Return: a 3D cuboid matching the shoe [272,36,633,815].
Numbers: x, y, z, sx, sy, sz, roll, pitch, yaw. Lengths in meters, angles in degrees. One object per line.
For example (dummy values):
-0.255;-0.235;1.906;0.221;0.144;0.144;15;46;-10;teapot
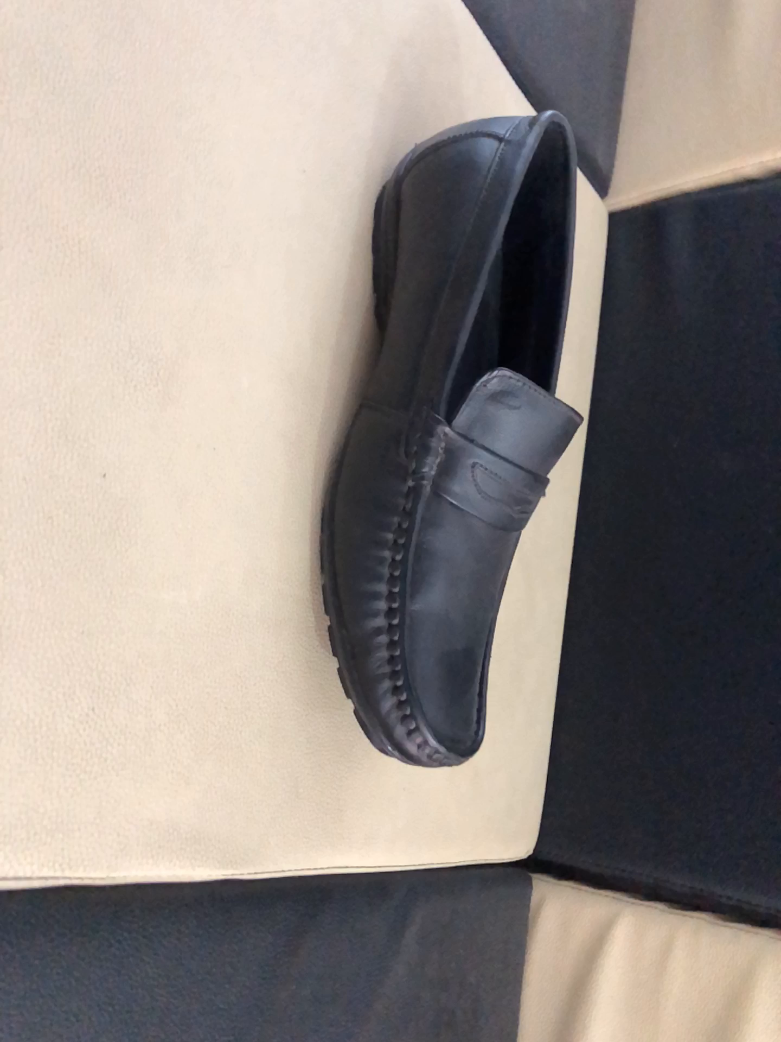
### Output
0.036;-0.034;0.367;0.101;0.079;0.290;23;70;-50;shoe
